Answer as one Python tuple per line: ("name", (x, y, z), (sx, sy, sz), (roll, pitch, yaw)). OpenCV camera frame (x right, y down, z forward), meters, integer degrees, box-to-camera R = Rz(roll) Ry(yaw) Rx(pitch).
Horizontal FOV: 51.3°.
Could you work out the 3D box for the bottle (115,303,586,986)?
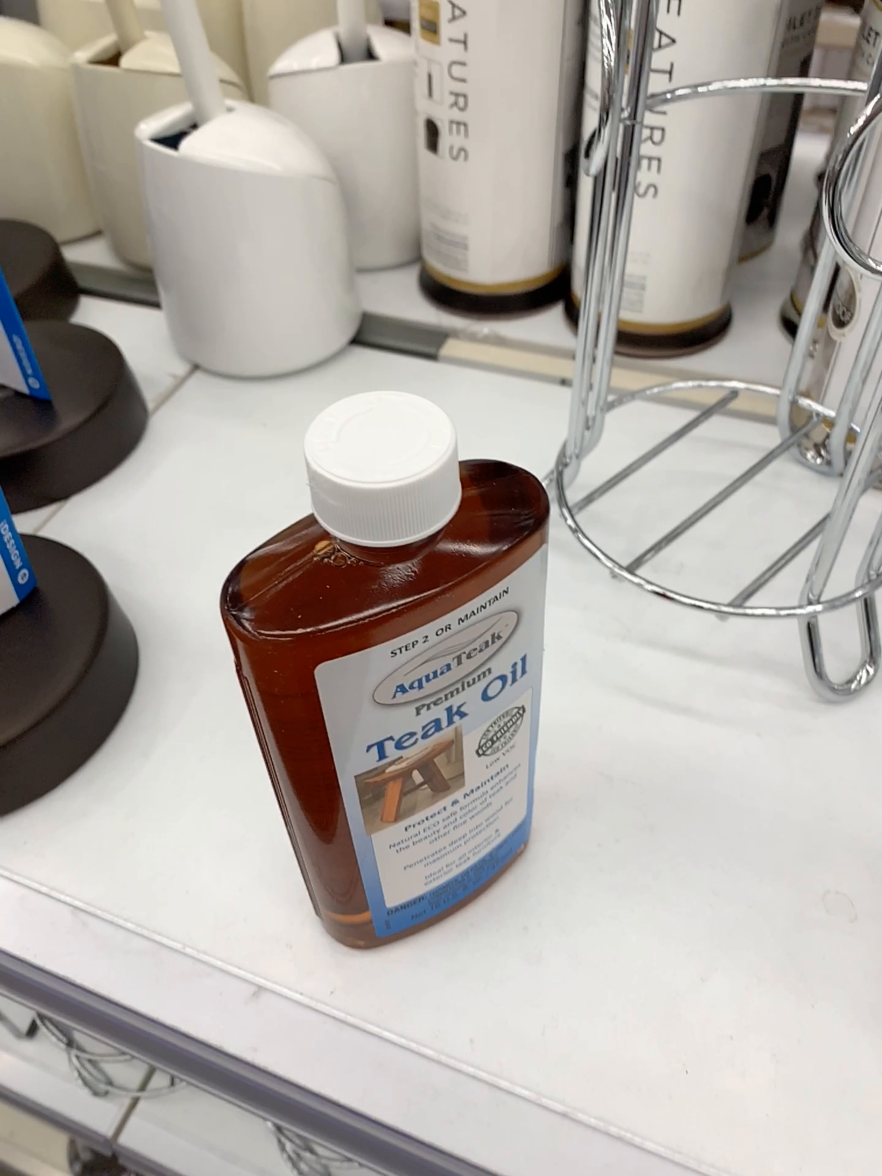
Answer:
("bottle", (-0.014, 0.034, 0.269), (0.088, 0.207, 0.046), (-28, 52, -21))
